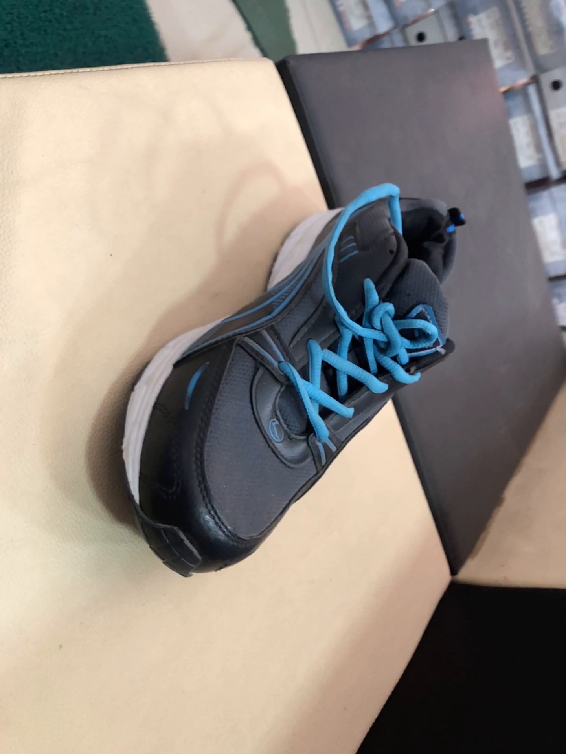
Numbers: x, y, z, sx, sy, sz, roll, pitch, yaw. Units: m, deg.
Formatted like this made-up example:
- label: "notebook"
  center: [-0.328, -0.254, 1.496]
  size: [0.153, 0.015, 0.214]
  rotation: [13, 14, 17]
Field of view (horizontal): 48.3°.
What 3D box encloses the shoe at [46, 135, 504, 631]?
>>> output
- label: "shoe"
  center: [0.024, -0.018, 0.344]
  size: [0.100, 0.099, 0.271]
  rotation: [59, 45, -24]
